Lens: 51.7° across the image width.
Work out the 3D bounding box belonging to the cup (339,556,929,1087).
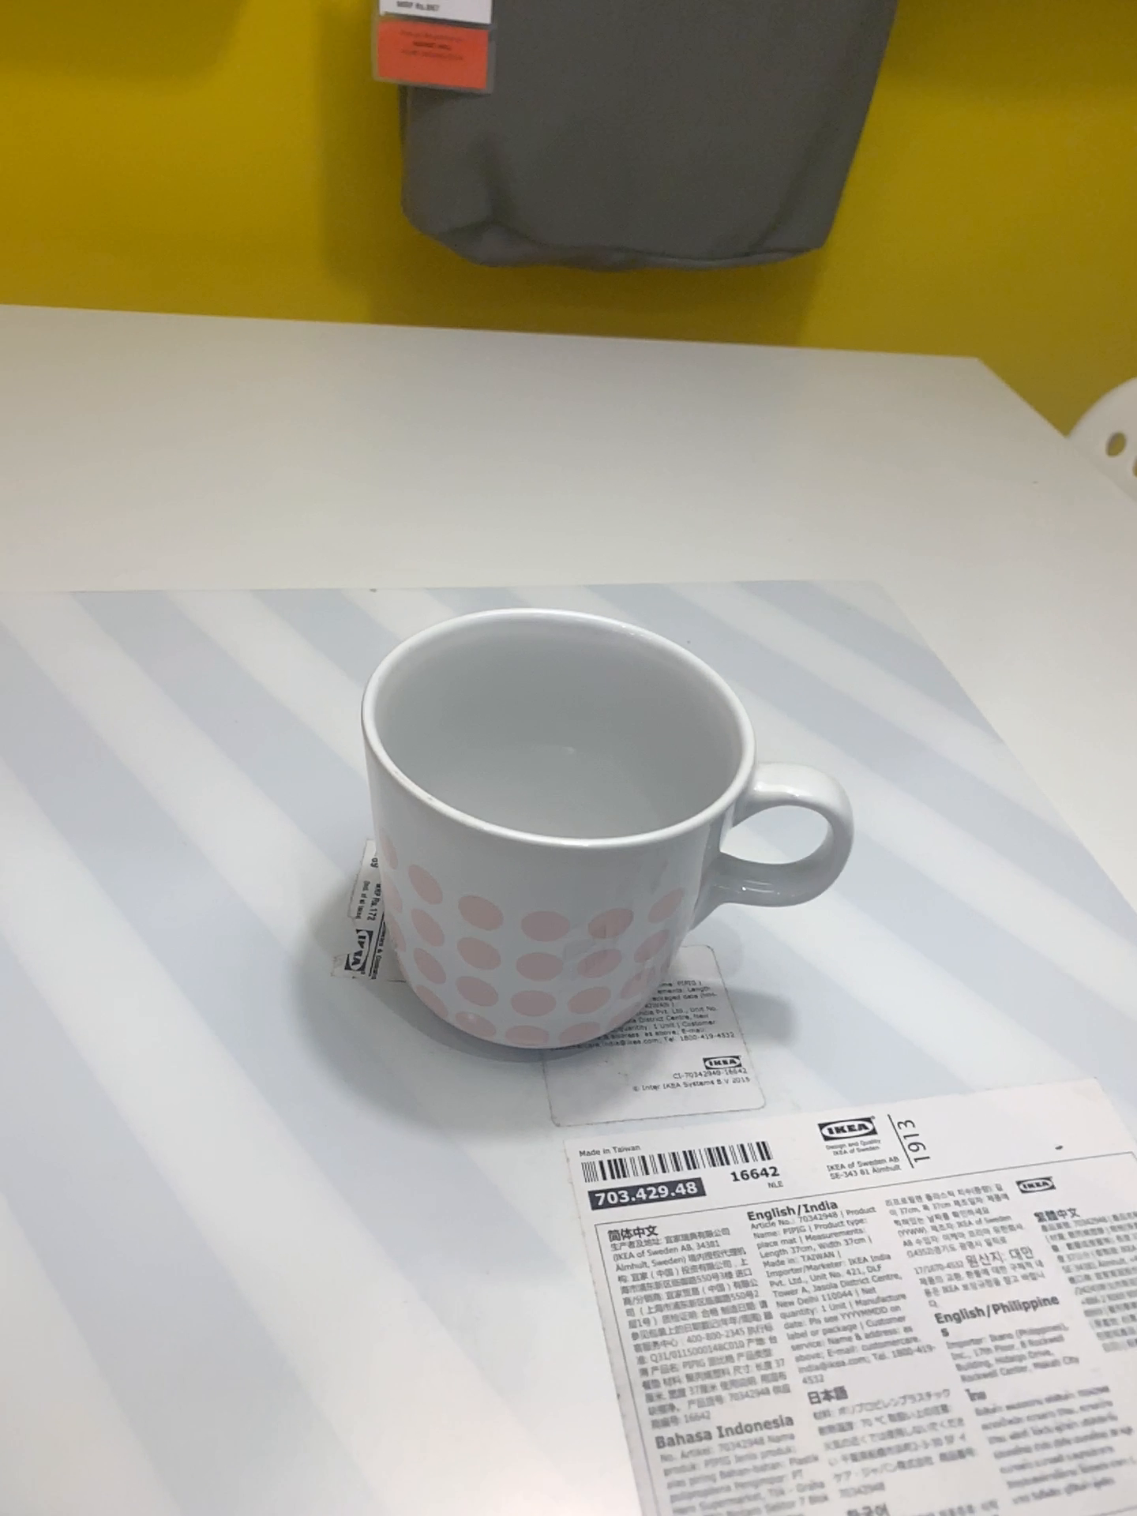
[{"bbox_3d":[0.010,0.014,0.273,0.110,0.080,0.080,6,38,-2],"label":"cup"}]
